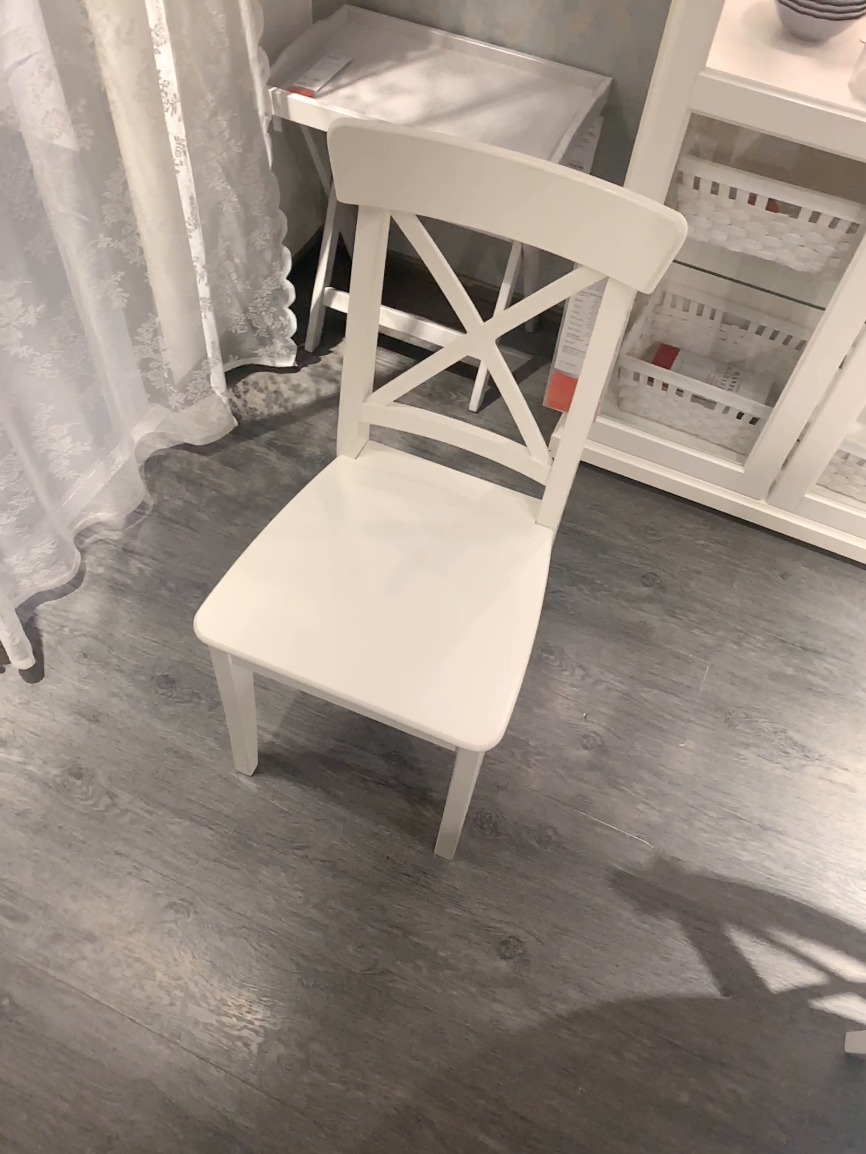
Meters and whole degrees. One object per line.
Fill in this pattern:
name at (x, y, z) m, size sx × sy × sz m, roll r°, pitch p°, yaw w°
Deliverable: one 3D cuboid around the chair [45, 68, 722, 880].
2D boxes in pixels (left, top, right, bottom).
chair at (-0.033, -0.052, 1.138) m, size 0.440 × 0.858 × 0.491 m, roll 21°, pitch 56°, yaw 10°
